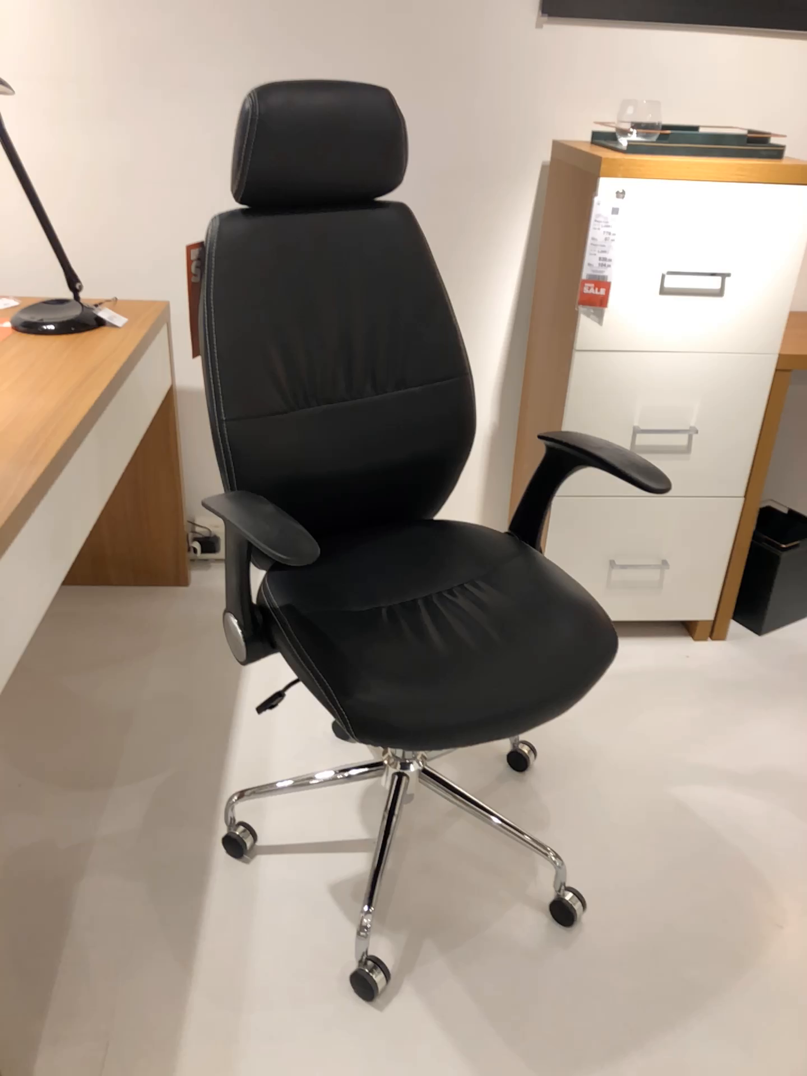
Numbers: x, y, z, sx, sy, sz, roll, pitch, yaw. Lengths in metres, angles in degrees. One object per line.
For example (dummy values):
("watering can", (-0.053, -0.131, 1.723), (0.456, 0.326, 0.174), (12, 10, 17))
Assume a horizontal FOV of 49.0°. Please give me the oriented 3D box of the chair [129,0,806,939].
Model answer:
("chair", (0.040, -0.155, 1.471), (0.691, 1.299, 0.715), (-12, 36, -24))
